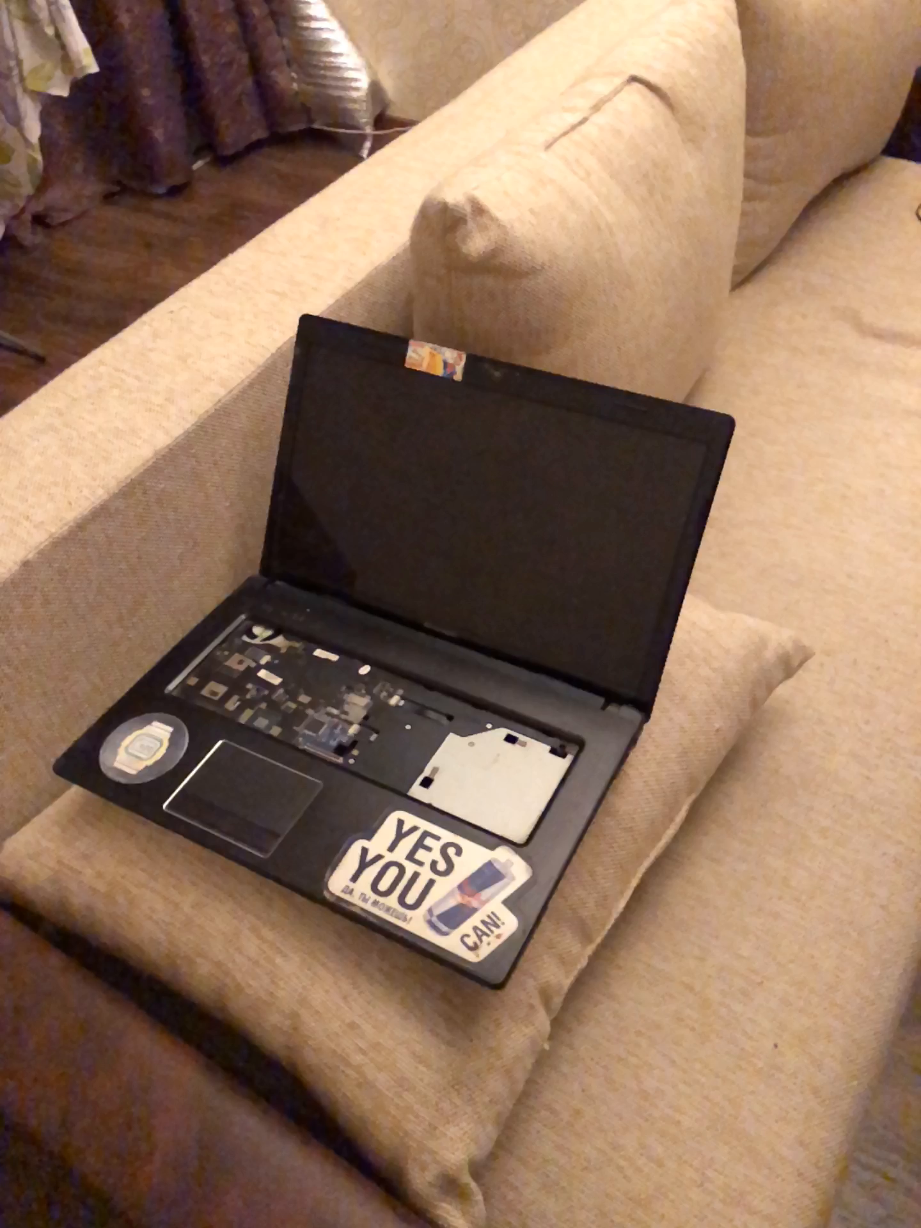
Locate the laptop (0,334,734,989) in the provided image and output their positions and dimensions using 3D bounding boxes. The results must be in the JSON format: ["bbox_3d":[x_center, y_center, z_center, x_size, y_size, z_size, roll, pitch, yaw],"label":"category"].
[{"bbox_3d":[-0.063,-0.004,0.817,0.413,0.198,0.409,20,49,22],"label":"laptop"}]
